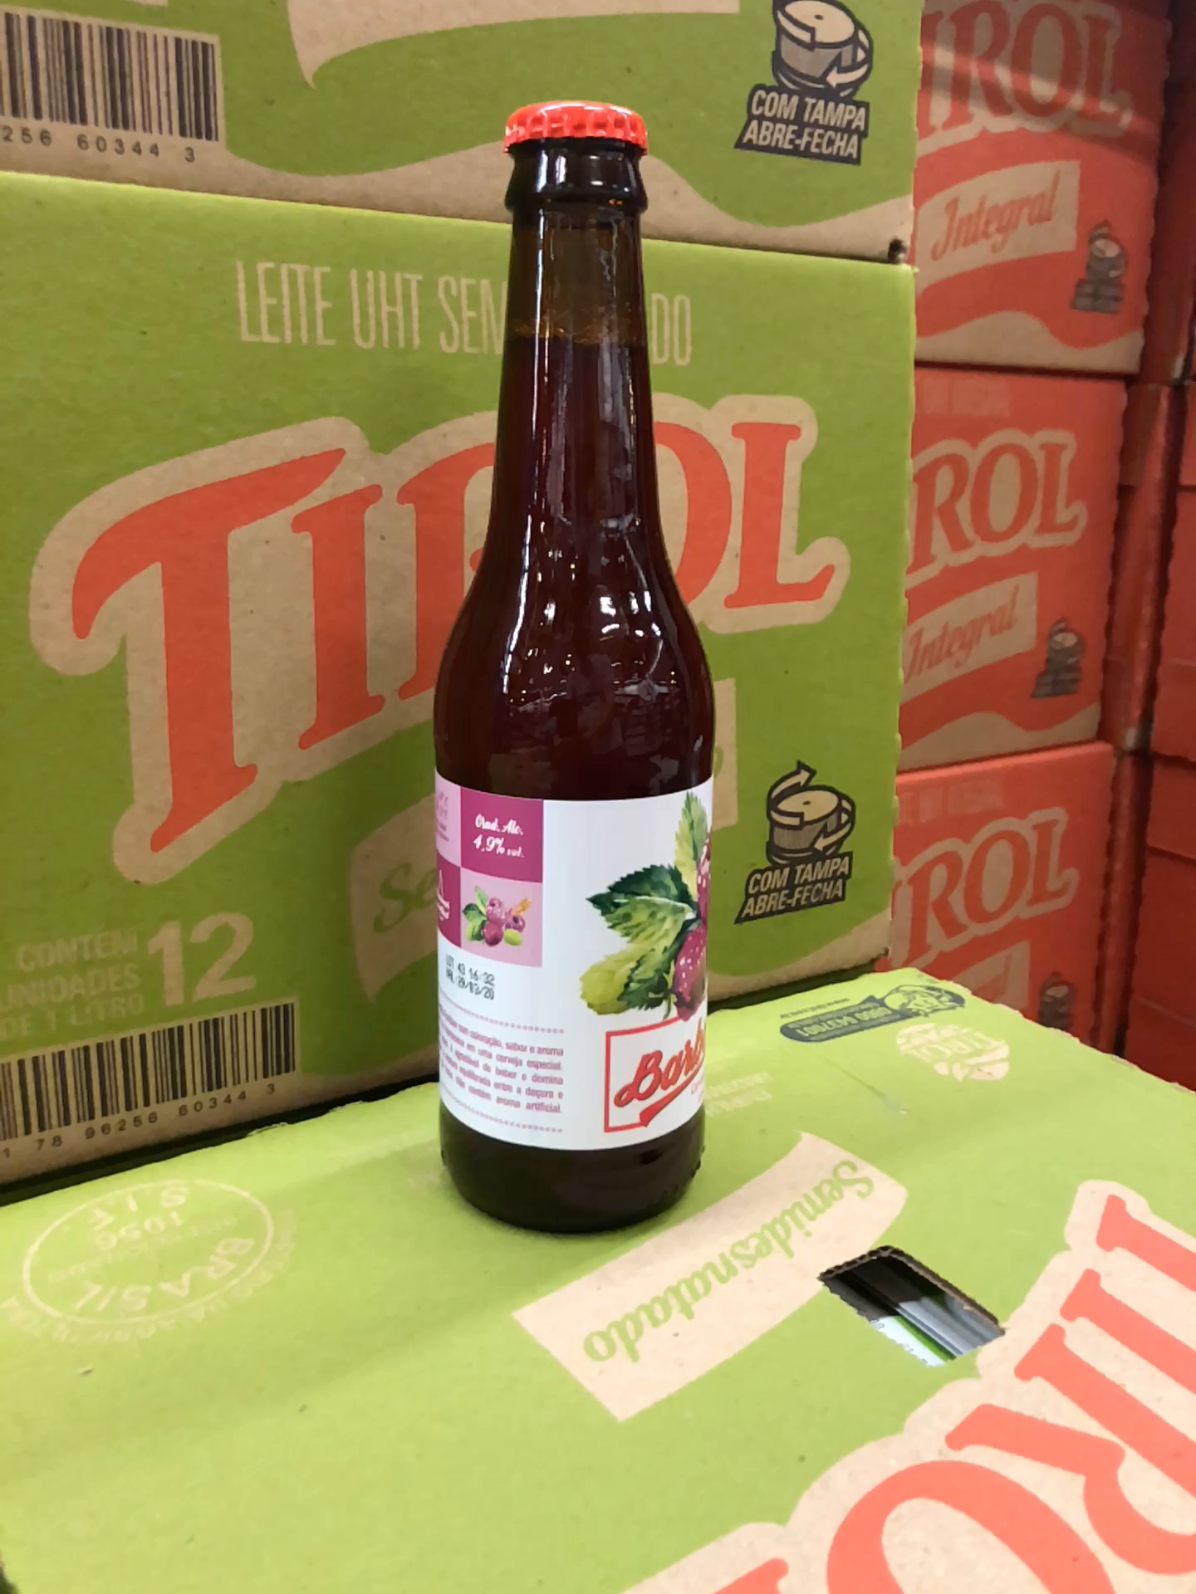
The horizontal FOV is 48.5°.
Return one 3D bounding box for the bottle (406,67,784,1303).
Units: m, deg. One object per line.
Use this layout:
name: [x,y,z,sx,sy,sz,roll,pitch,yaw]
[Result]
bottle: [0.001,-0.019,0.283,0.060,0.229,0.070,4,14,11]
